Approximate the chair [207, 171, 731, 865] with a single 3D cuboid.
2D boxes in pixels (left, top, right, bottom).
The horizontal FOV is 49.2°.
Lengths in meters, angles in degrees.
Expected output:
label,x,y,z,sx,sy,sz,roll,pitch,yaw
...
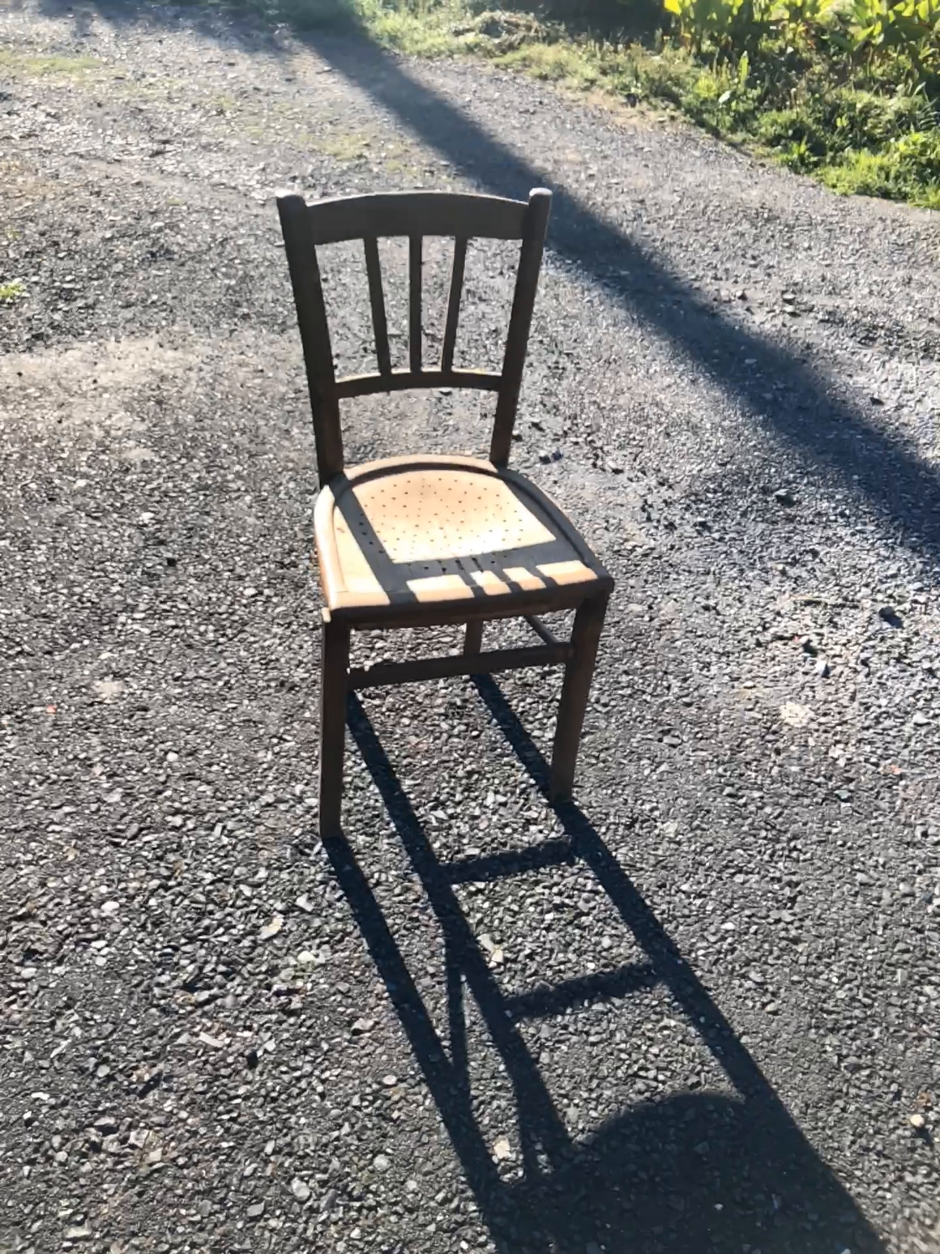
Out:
label,x,y,z,sx,sy,sz,roll,pitch,yaw
chair,-0.060,-0.148,1.420,0.490,0.735,0.543,-6,44,-12
